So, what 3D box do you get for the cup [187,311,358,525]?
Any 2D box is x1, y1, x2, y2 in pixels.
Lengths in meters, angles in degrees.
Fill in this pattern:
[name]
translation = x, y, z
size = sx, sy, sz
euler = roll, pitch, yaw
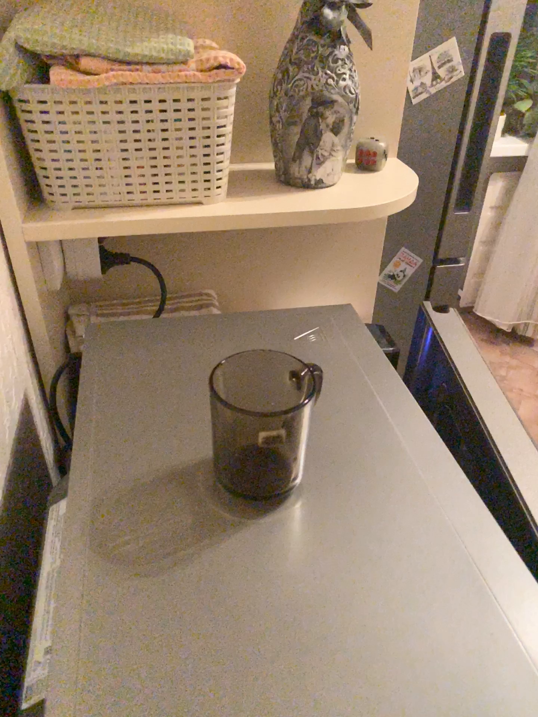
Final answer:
[cup]
translation = 0.004, 0.038, 0.400
size = 0.078, 0.094, 0.102
euler = 18, 38, 22
